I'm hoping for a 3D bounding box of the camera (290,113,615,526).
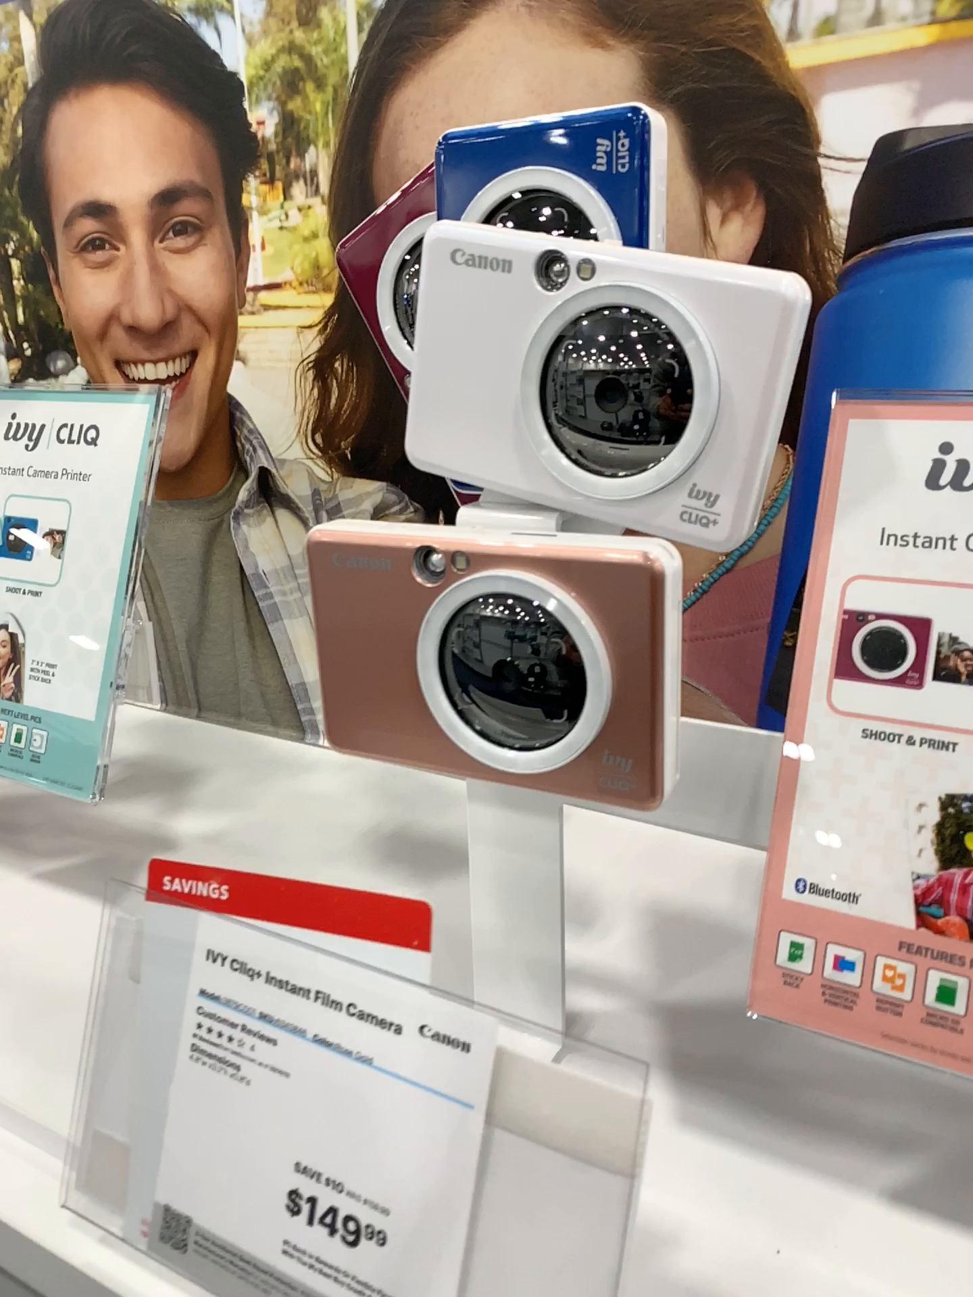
[{"bbox_3d":[-0.015,-0.119,0.378,0.080,0.120,0.030,-27,-2,40],"label":"camera"}]

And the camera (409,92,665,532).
[{"bbox_3d":[0.017,-0.110,0.345,0.080,0.129,0.030,10,21,35],"label":"camera"}]

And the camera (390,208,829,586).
[{"bbox_3d":[0.033,-0.082,0.316,0.120,0.090,0.030,18,24,22],"label":"camera"}]

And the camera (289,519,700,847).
[{"bbox_3d":[0.001,0.006,0.306,0.120,0.080,0.030,7,19,26],"label":"camera"}]
